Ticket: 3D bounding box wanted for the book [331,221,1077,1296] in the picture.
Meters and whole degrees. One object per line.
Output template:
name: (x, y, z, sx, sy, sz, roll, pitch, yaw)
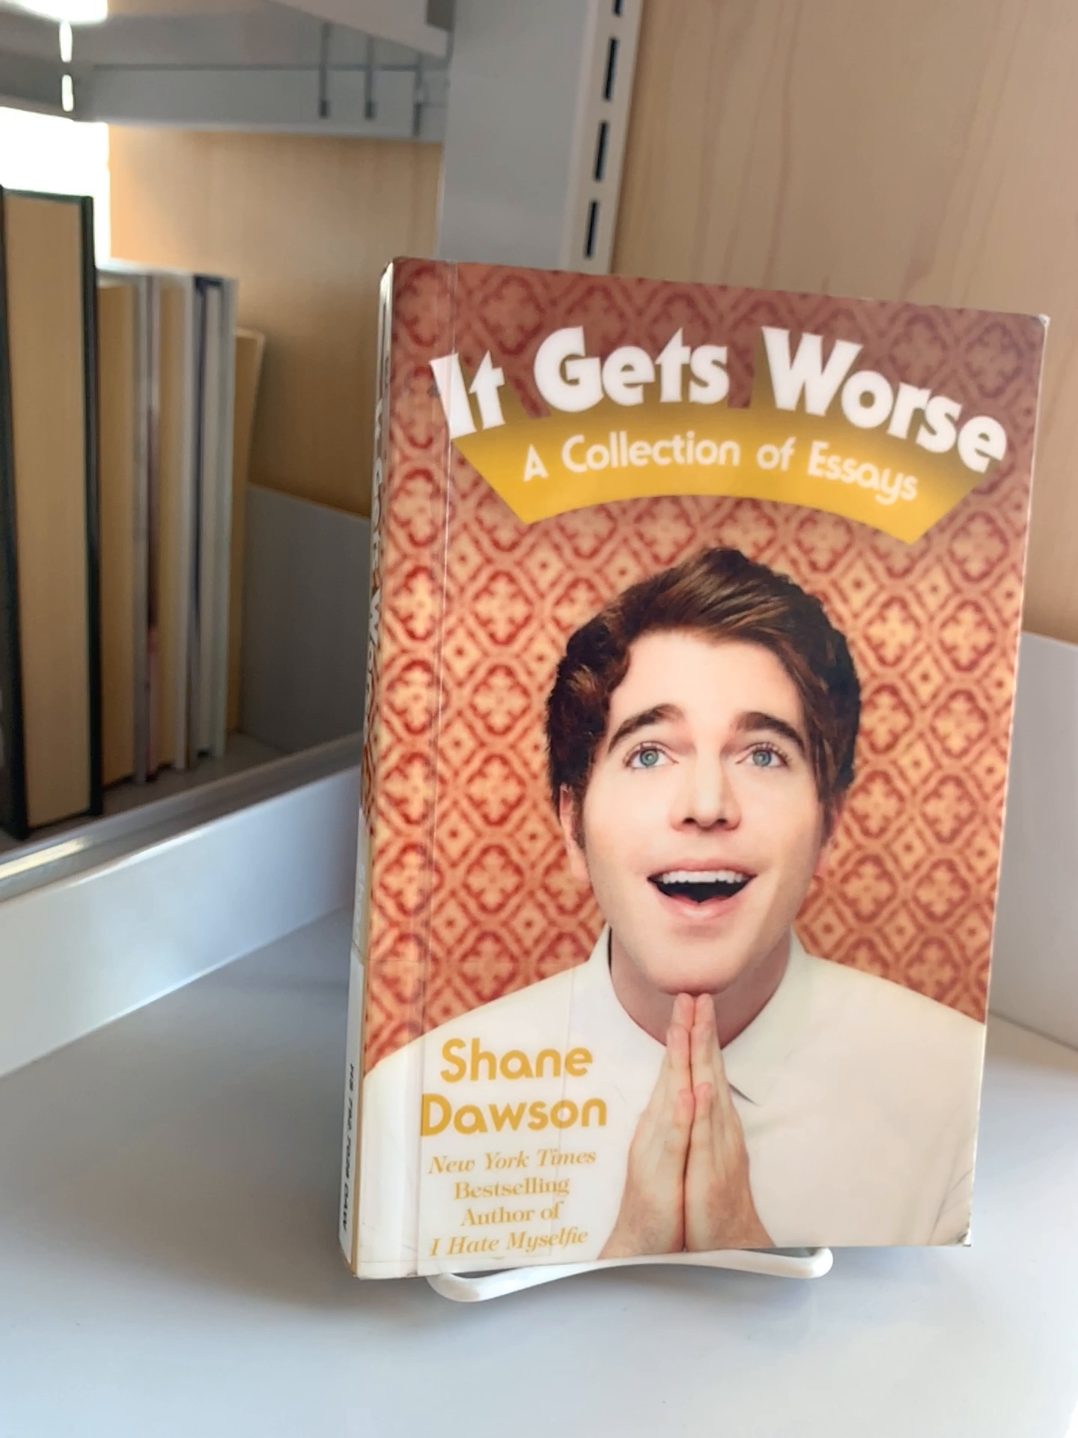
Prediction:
book: (0.035, 0.014, 0.249, 0.149, 0.210, 0.030, 2, 6, -13)
